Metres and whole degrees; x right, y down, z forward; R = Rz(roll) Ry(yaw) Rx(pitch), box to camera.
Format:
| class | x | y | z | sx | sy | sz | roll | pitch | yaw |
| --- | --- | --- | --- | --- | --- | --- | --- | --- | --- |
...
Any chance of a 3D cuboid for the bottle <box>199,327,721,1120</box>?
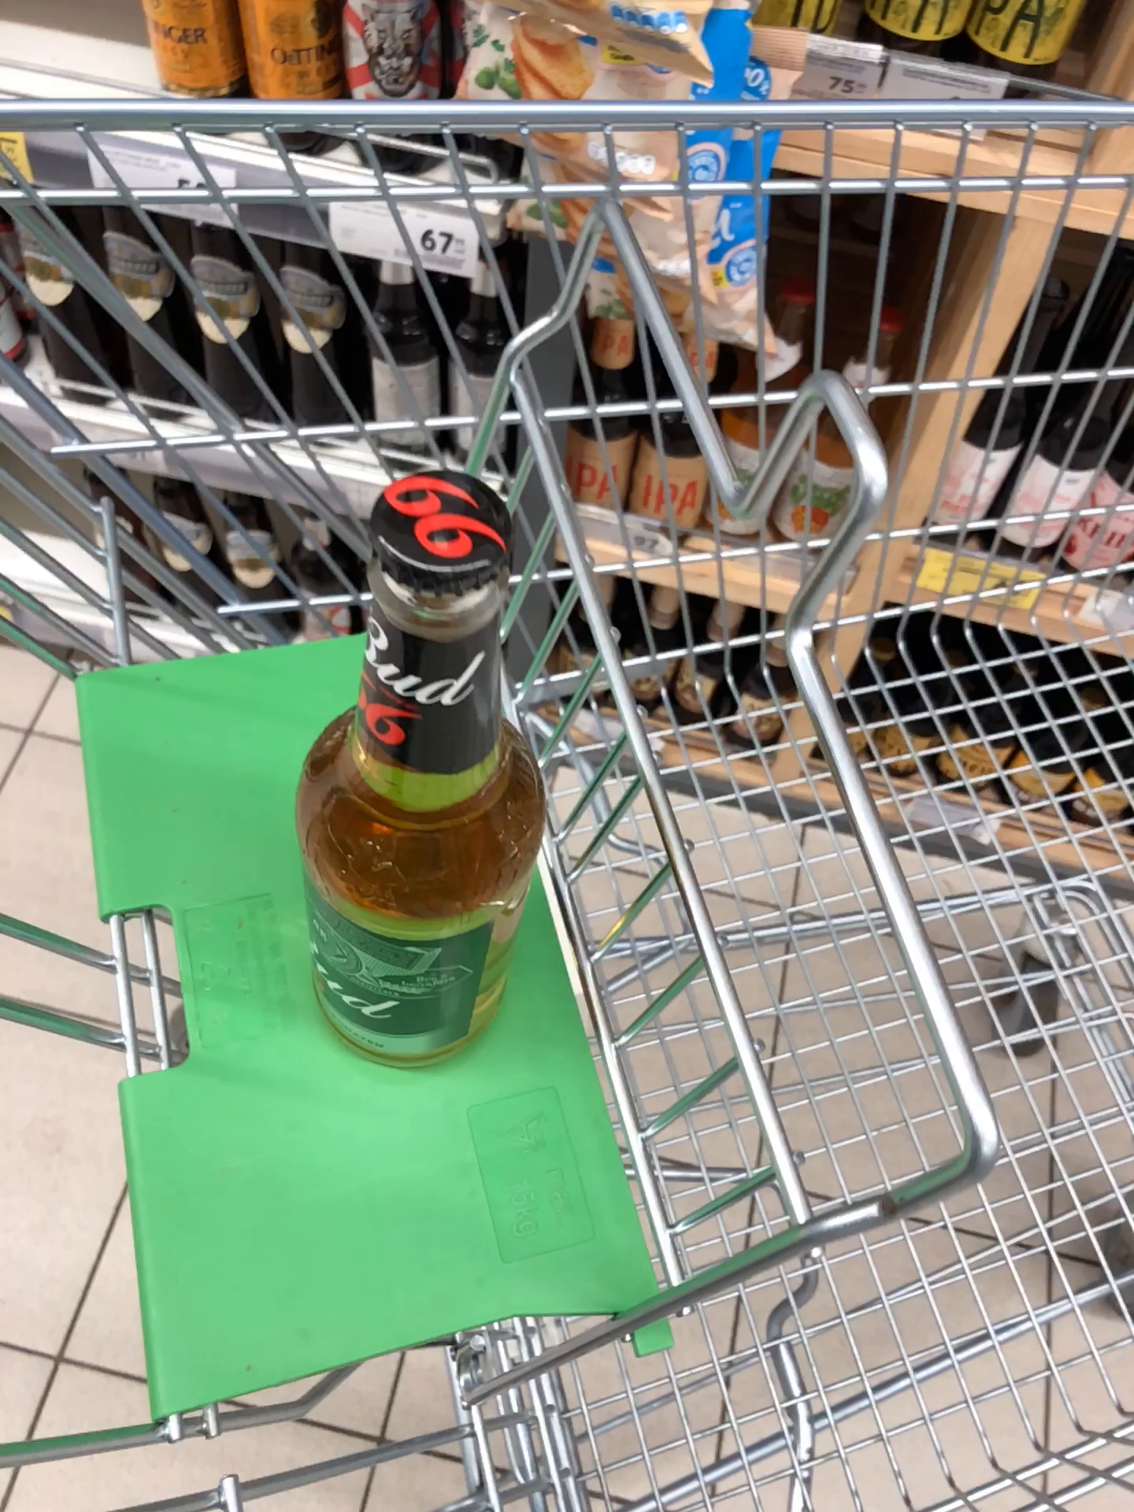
| class | x | y | z | sx | sy | sz | roll | pitch | yaw |
| --- | --- | --- | --- | --- | --- | --- | --- | --- | --- |
| bottle | -0.036 | 0.014 | 0.345 | 0.070 | 0.239 | 0.080 | -27 | 66 | -23 |
